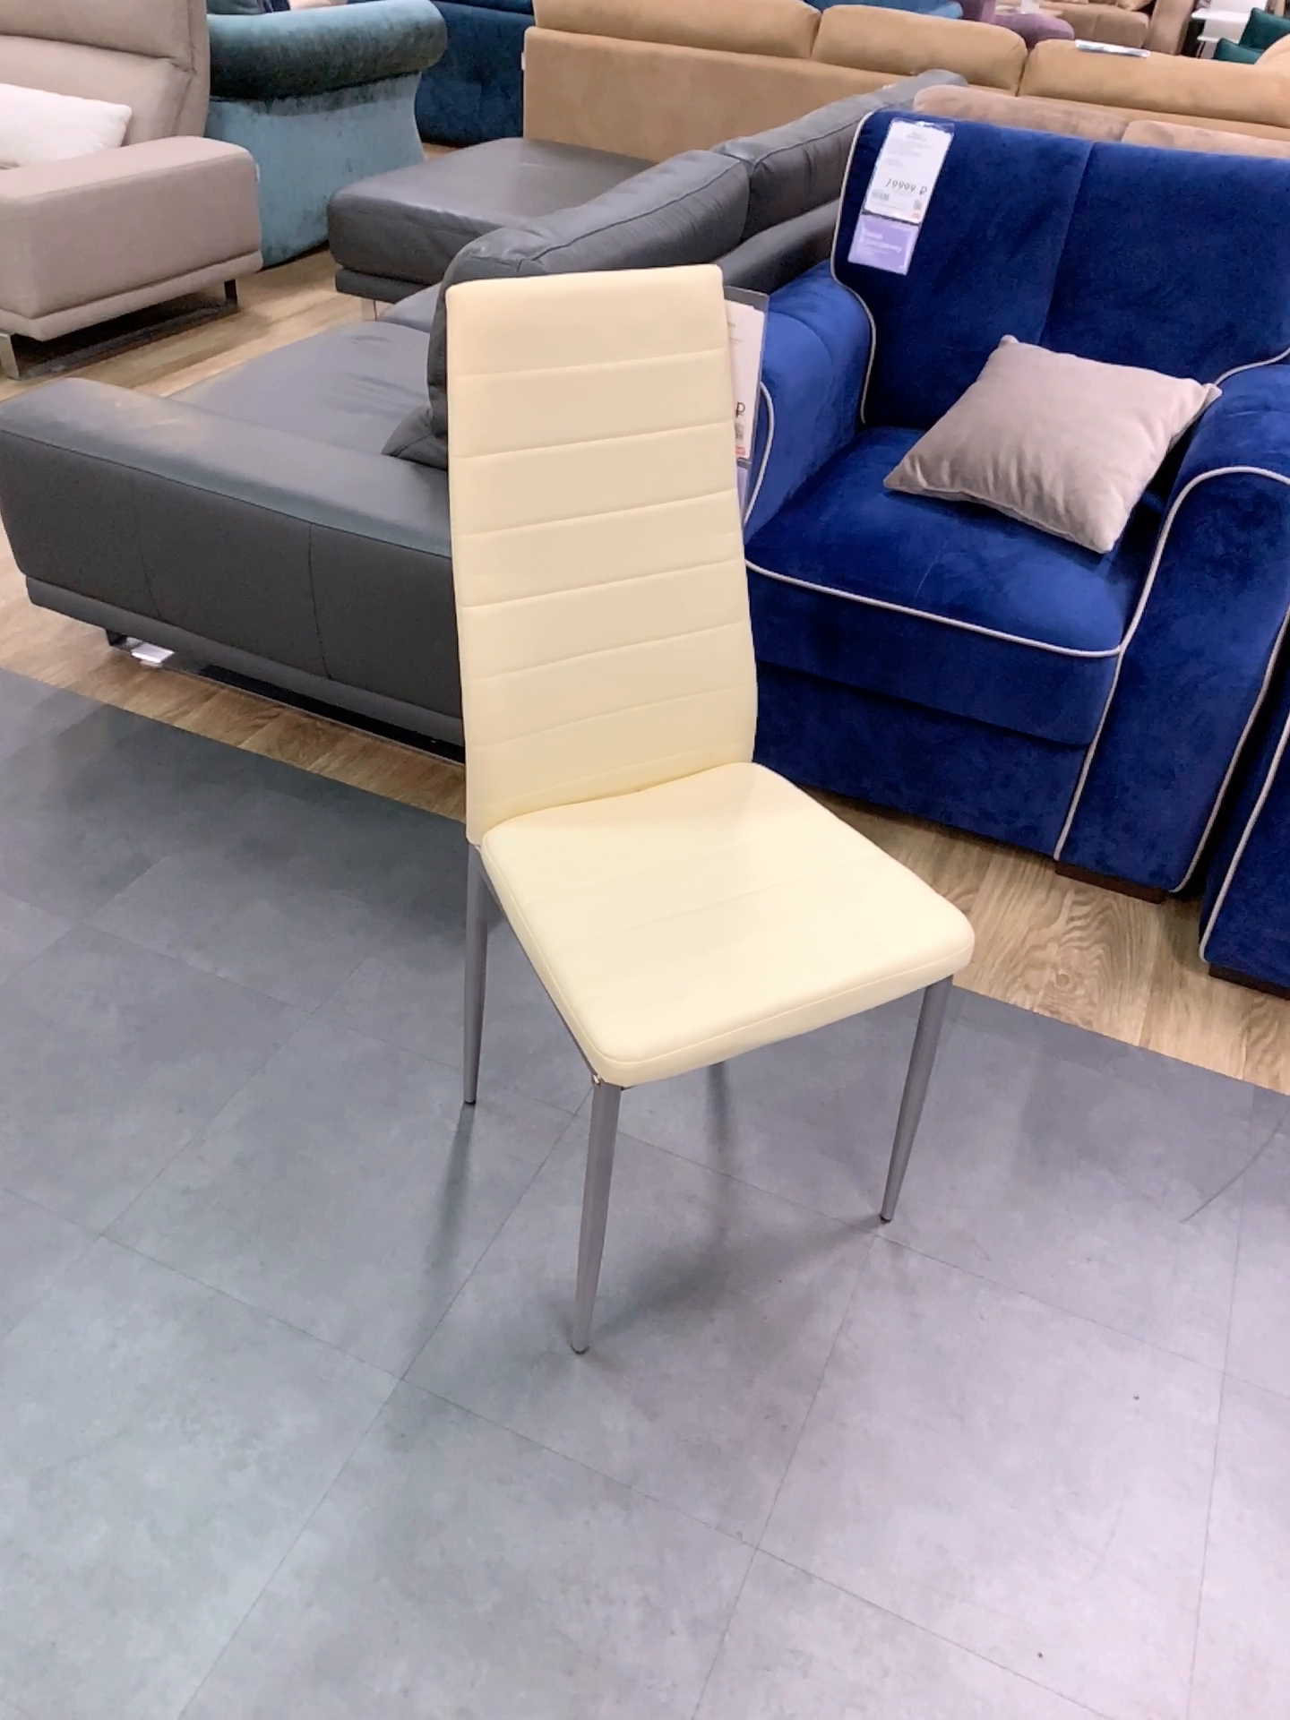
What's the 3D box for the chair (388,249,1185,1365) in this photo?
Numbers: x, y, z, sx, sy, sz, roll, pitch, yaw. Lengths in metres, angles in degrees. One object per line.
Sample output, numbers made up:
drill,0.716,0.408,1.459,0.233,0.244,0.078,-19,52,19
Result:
chair,0.060,-0.038,1.326,0.446,0.940,0.479,-15,42,-23
